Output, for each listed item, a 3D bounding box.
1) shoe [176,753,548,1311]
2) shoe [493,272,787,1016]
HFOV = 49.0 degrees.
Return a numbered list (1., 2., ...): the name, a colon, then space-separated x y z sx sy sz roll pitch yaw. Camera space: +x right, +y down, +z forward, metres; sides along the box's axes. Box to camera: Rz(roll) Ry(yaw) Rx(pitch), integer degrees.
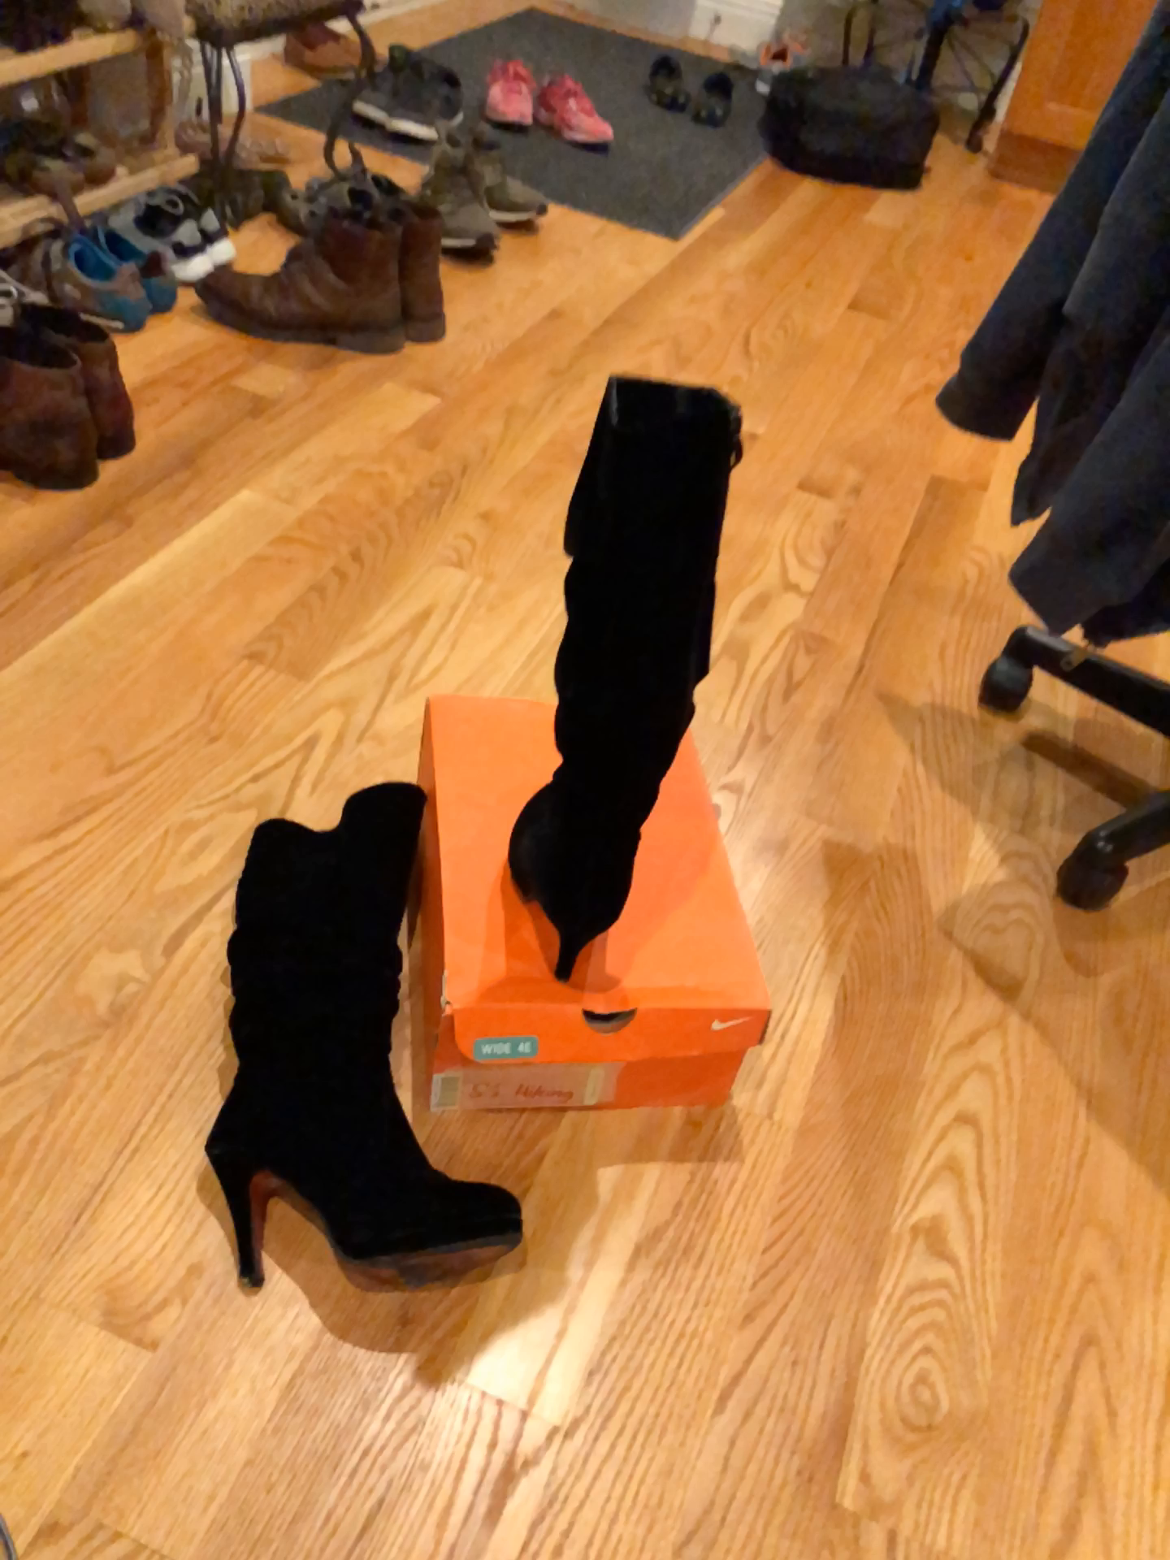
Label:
1. shoe: -0.156 0.147 0.897 0.206 0.089 0.401 0 42 -11
2. shoe: 0.011 -0.068 0.789 0.089 0.397 0.217 5 41 -8
